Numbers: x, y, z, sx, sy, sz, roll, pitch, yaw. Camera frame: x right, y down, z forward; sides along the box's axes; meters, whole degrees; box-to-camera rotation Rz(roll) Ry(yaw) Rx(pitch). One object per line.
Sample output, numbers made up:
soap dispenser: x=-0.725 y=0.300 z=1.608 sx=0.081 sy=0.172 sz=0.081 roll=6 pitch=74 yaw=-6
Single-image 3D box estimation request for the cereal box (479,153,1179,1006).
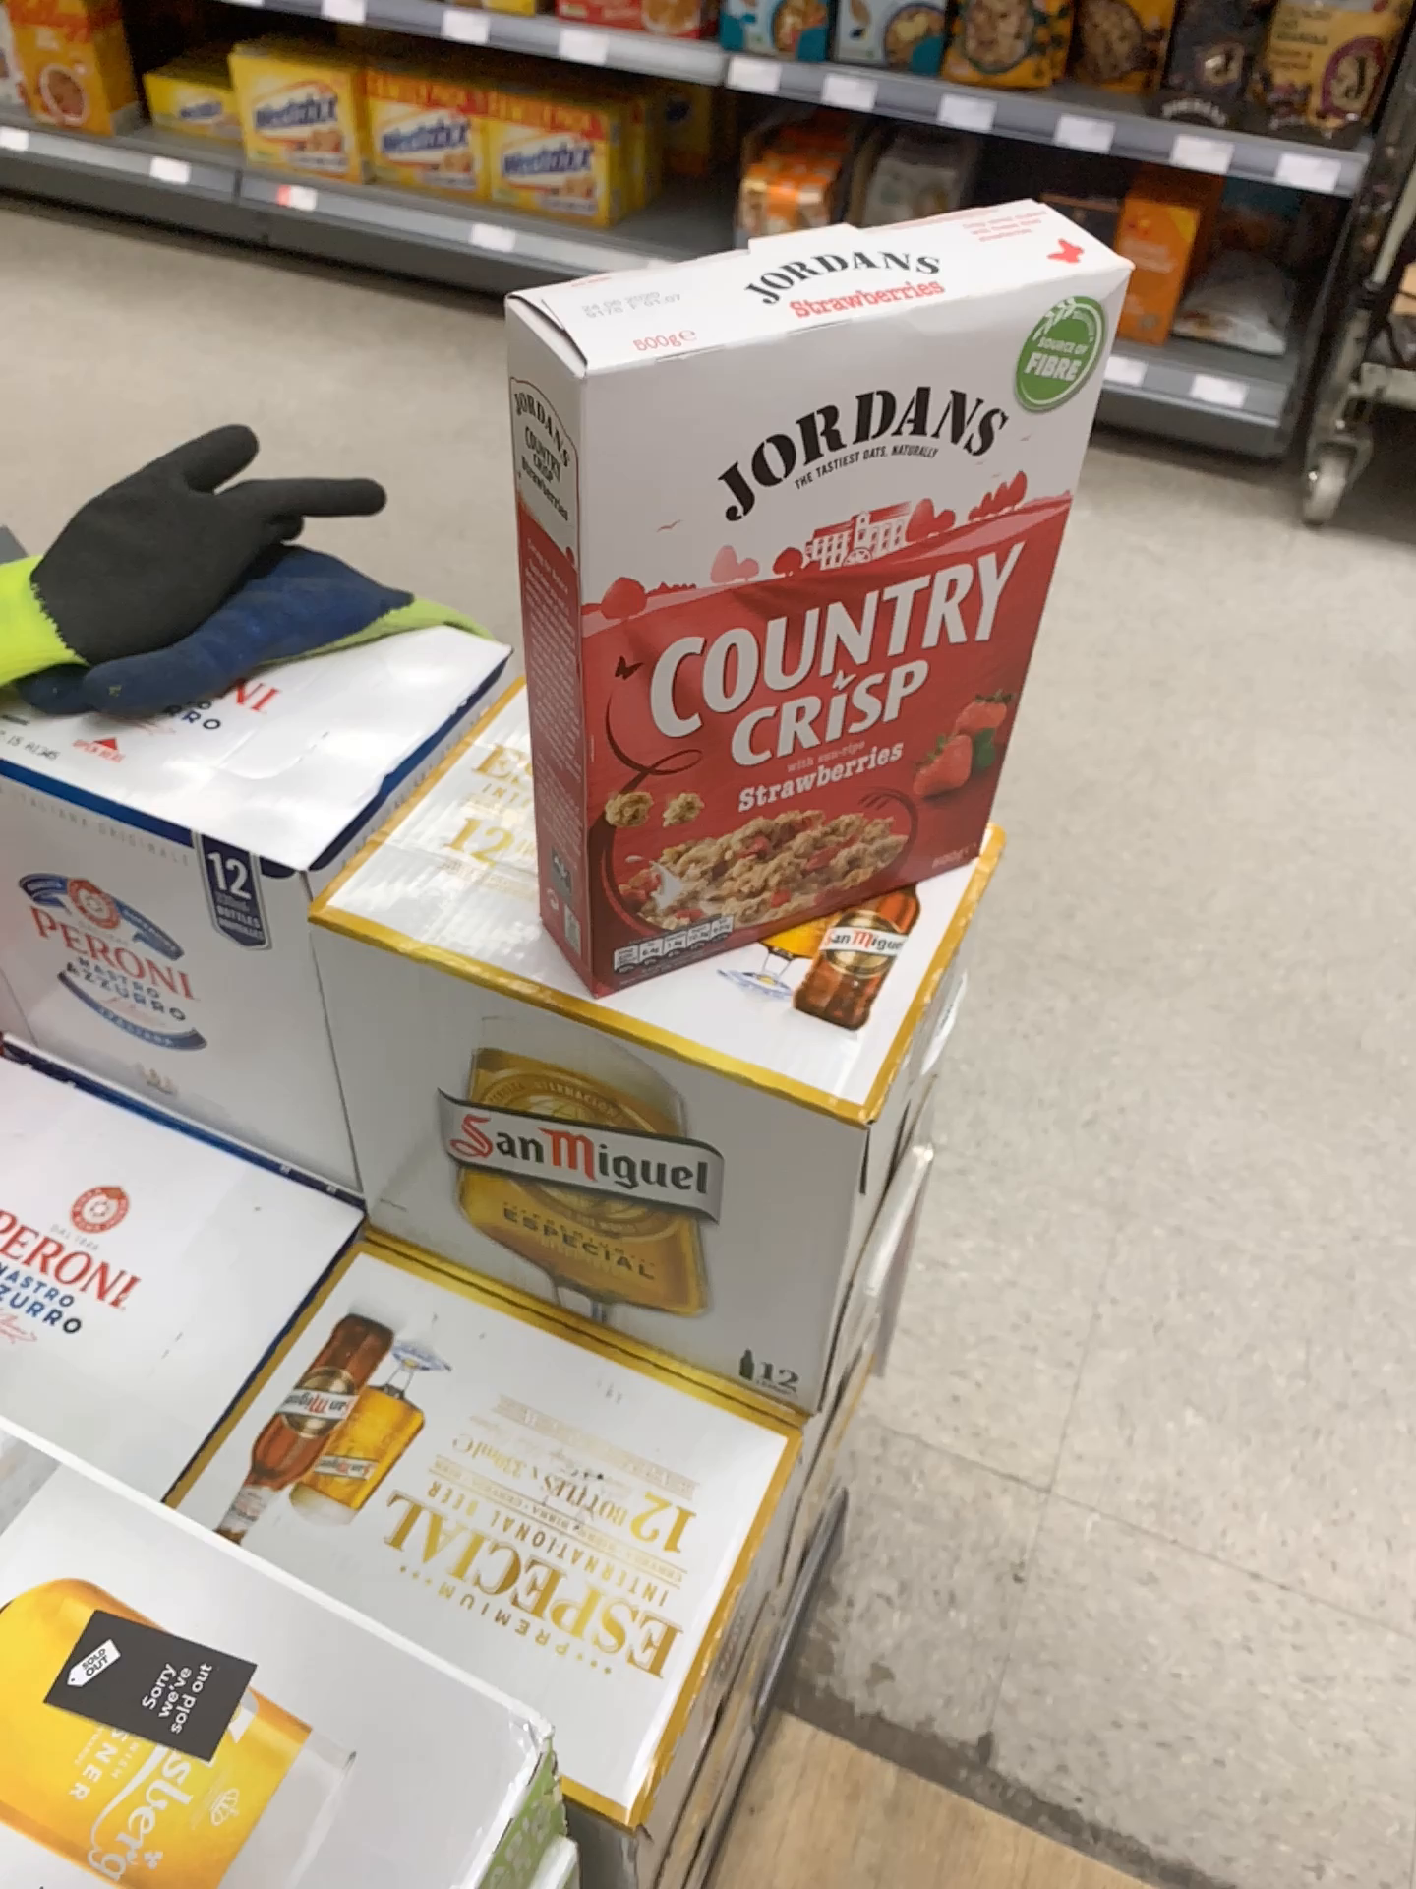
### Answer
cereal box: x=0.030 y=-0.111 z=0.492 sx=0.190 sy=0.248 sz=0.060 roll=-20 pitch=52 yaw=-22
